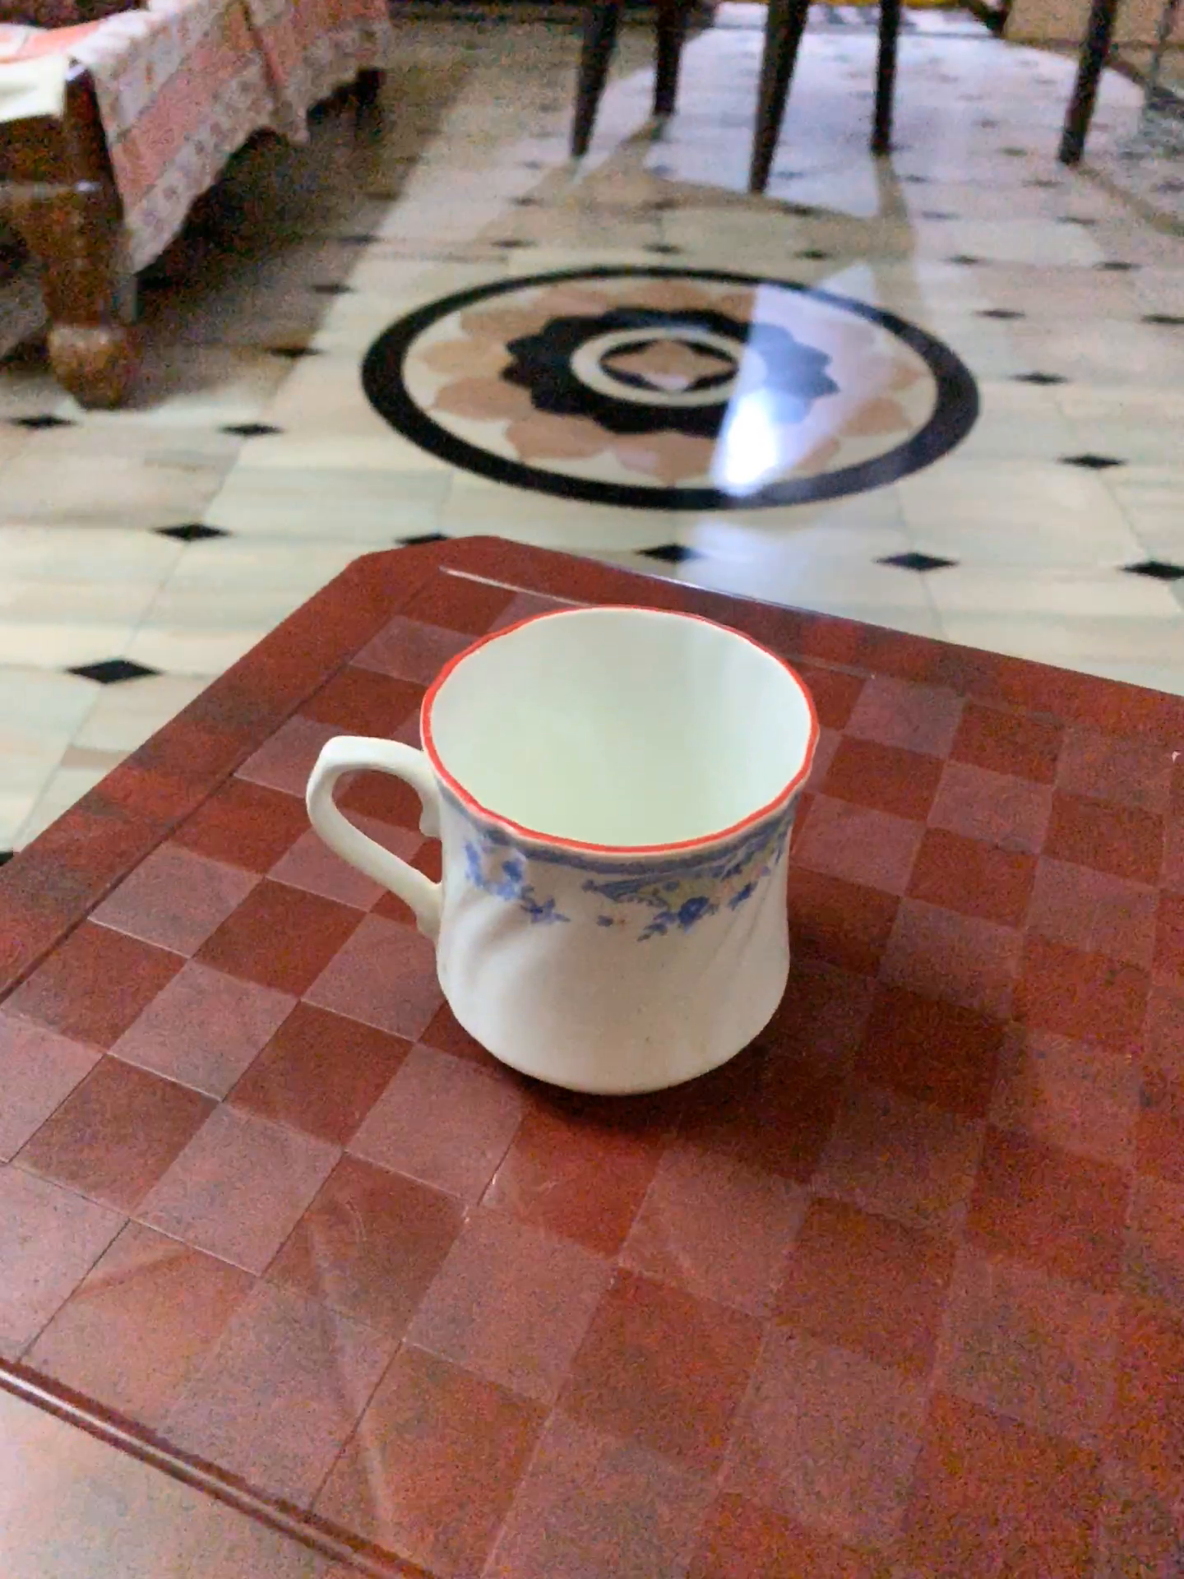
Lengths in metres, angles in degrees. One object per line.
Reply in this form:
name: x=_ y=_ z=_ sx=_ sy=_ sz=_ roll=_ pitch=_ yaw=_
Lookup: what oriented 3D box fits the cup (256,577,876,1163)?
cup: x=-0.003 y=0.015 z=0.231 sx=0.090 sy=0.080 sz=0.070 roll=2 pitch=40 yaw=1
